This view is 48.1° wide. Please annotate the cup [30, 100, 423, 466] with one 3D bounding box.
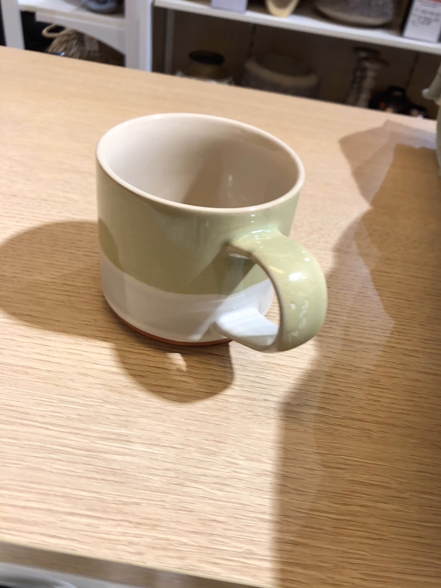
[{"bbox_3d":[-0.007,-0.020,0.231,0.100,0.079,0.141,-22,49,-32],"label":"cup"}]
